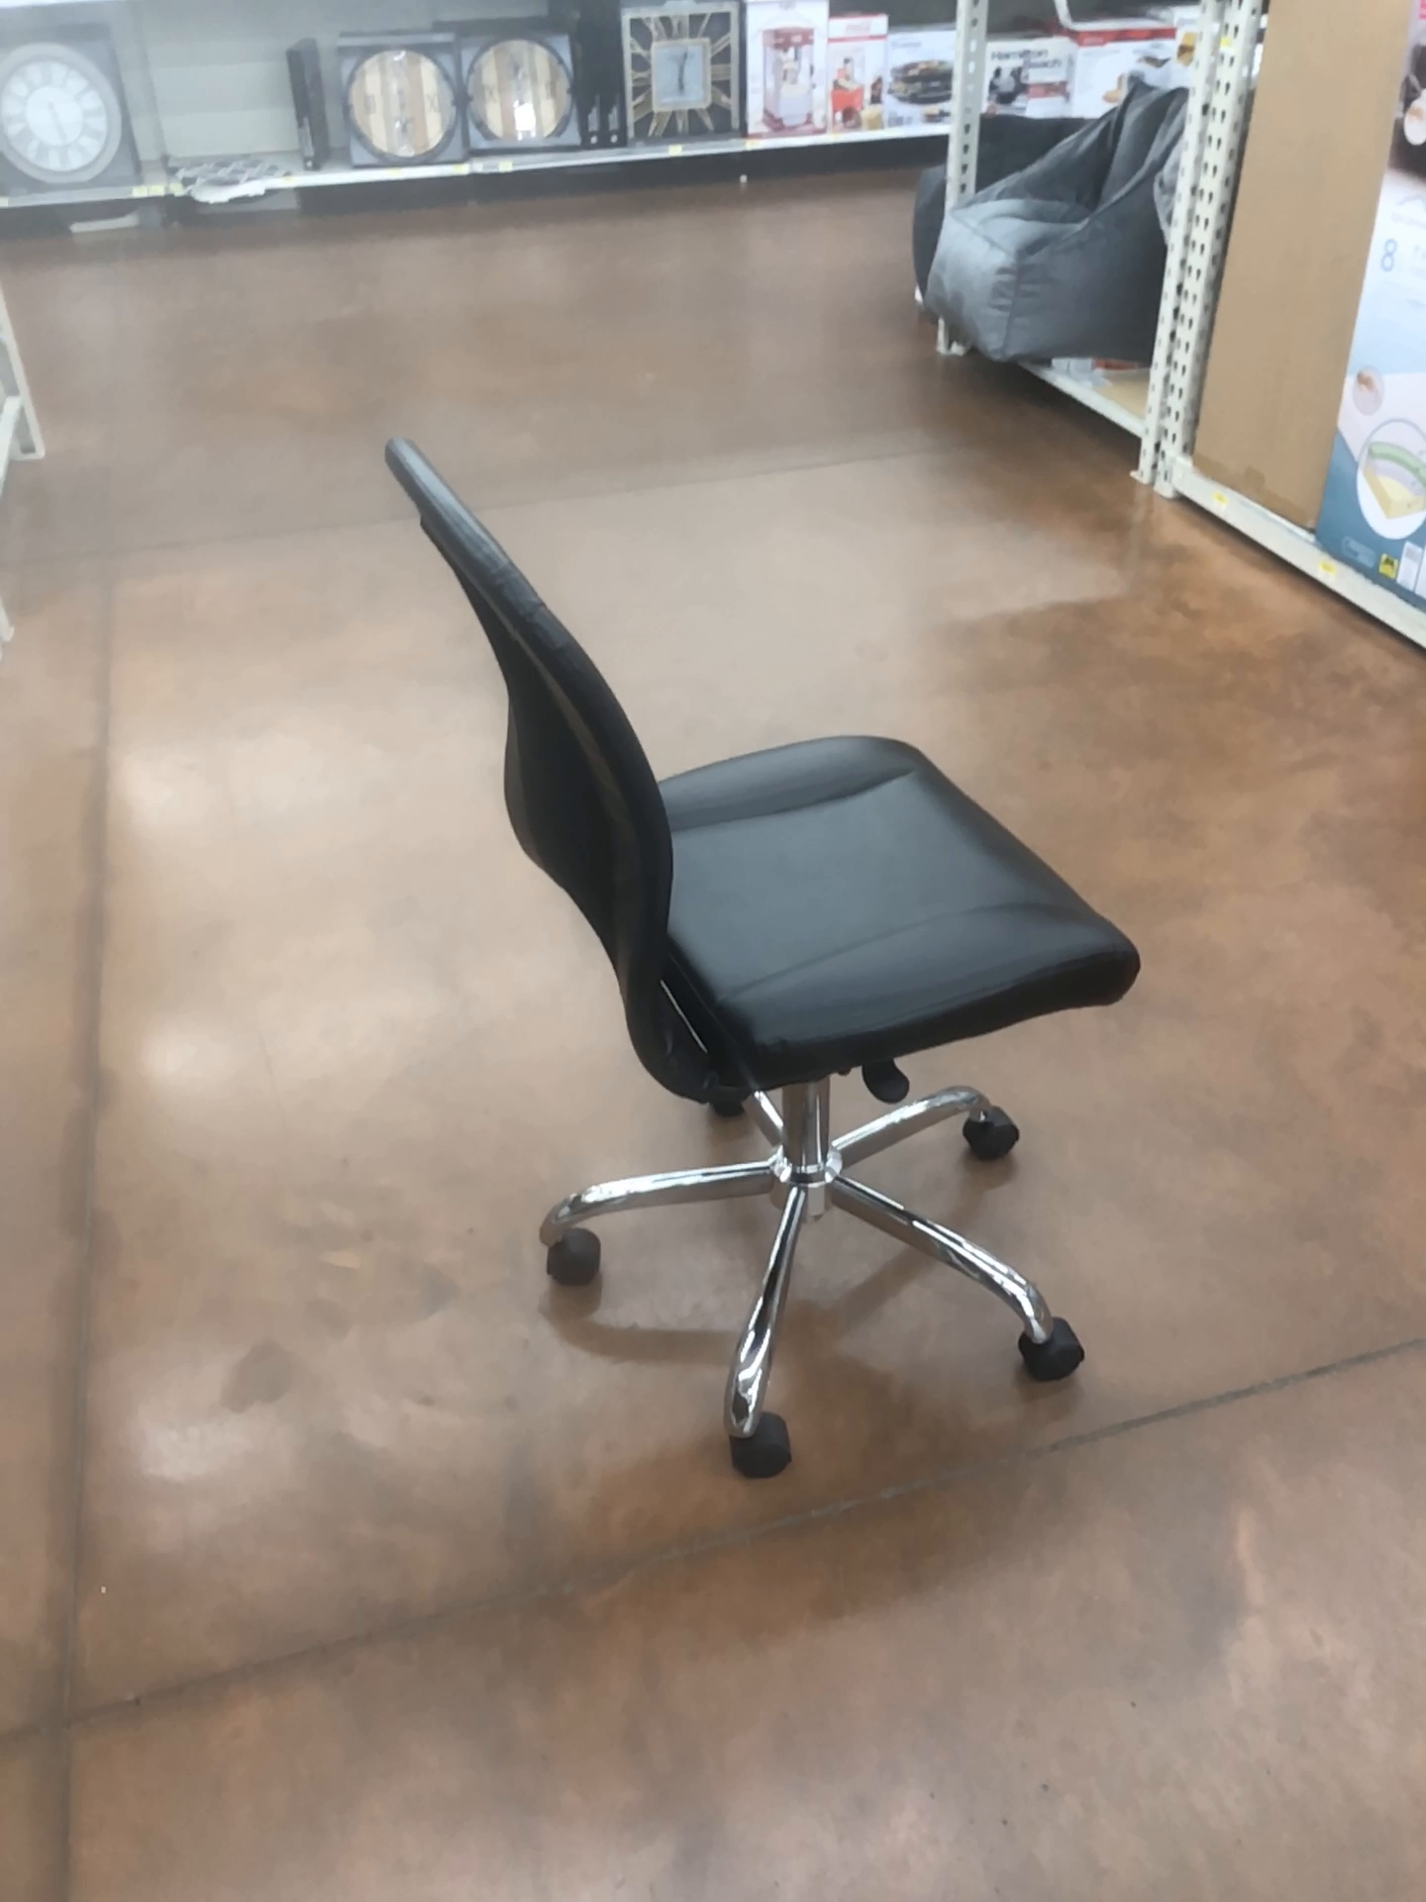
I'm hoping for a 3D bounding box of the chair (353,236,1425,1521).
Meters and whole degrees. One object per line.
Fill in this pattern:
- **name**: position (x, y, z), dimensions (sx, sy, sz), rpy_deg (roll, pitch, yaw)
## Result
- **chair**: position (0.117, -0.112, 1.427), dimensions (0.650, 0.817, 0.682), rpy_deg (-13, 37, -15)
